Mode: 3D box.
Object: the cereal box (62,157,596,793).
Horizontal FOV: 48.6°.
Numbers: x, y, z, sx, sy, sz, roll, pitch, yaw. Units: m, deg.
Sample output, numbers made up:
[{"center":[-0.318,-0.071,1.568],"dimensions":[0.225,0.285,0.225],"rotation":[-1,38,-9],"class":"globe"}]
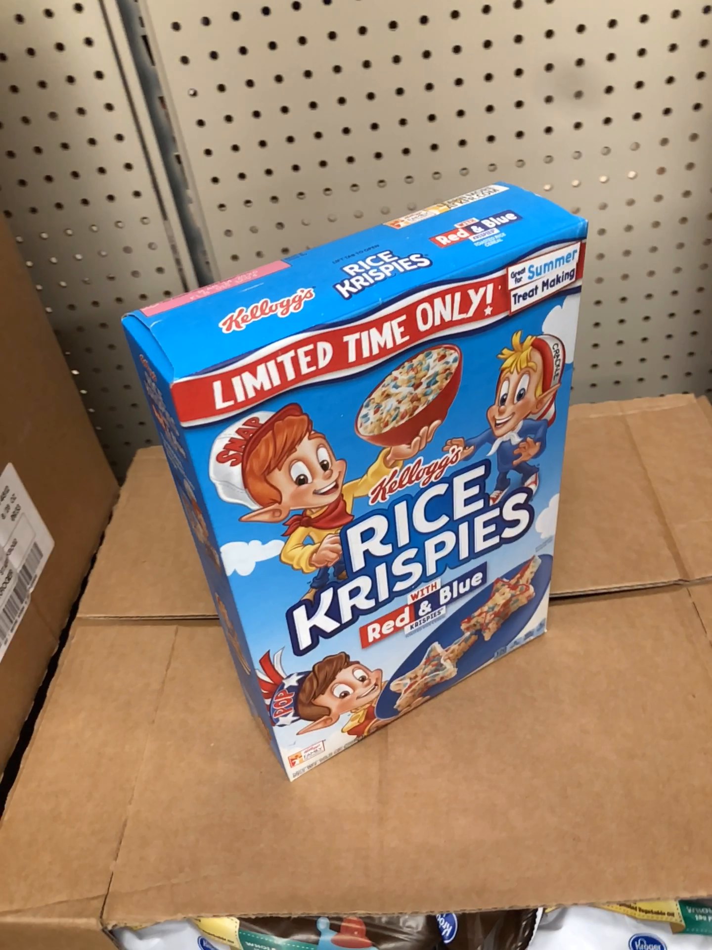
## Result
[{"center":[0.006,0.017,0.394],"dimensions":[0.200,0.279,0.060],"rotation":[-25,46,-18],"class":"cereal box"}]
